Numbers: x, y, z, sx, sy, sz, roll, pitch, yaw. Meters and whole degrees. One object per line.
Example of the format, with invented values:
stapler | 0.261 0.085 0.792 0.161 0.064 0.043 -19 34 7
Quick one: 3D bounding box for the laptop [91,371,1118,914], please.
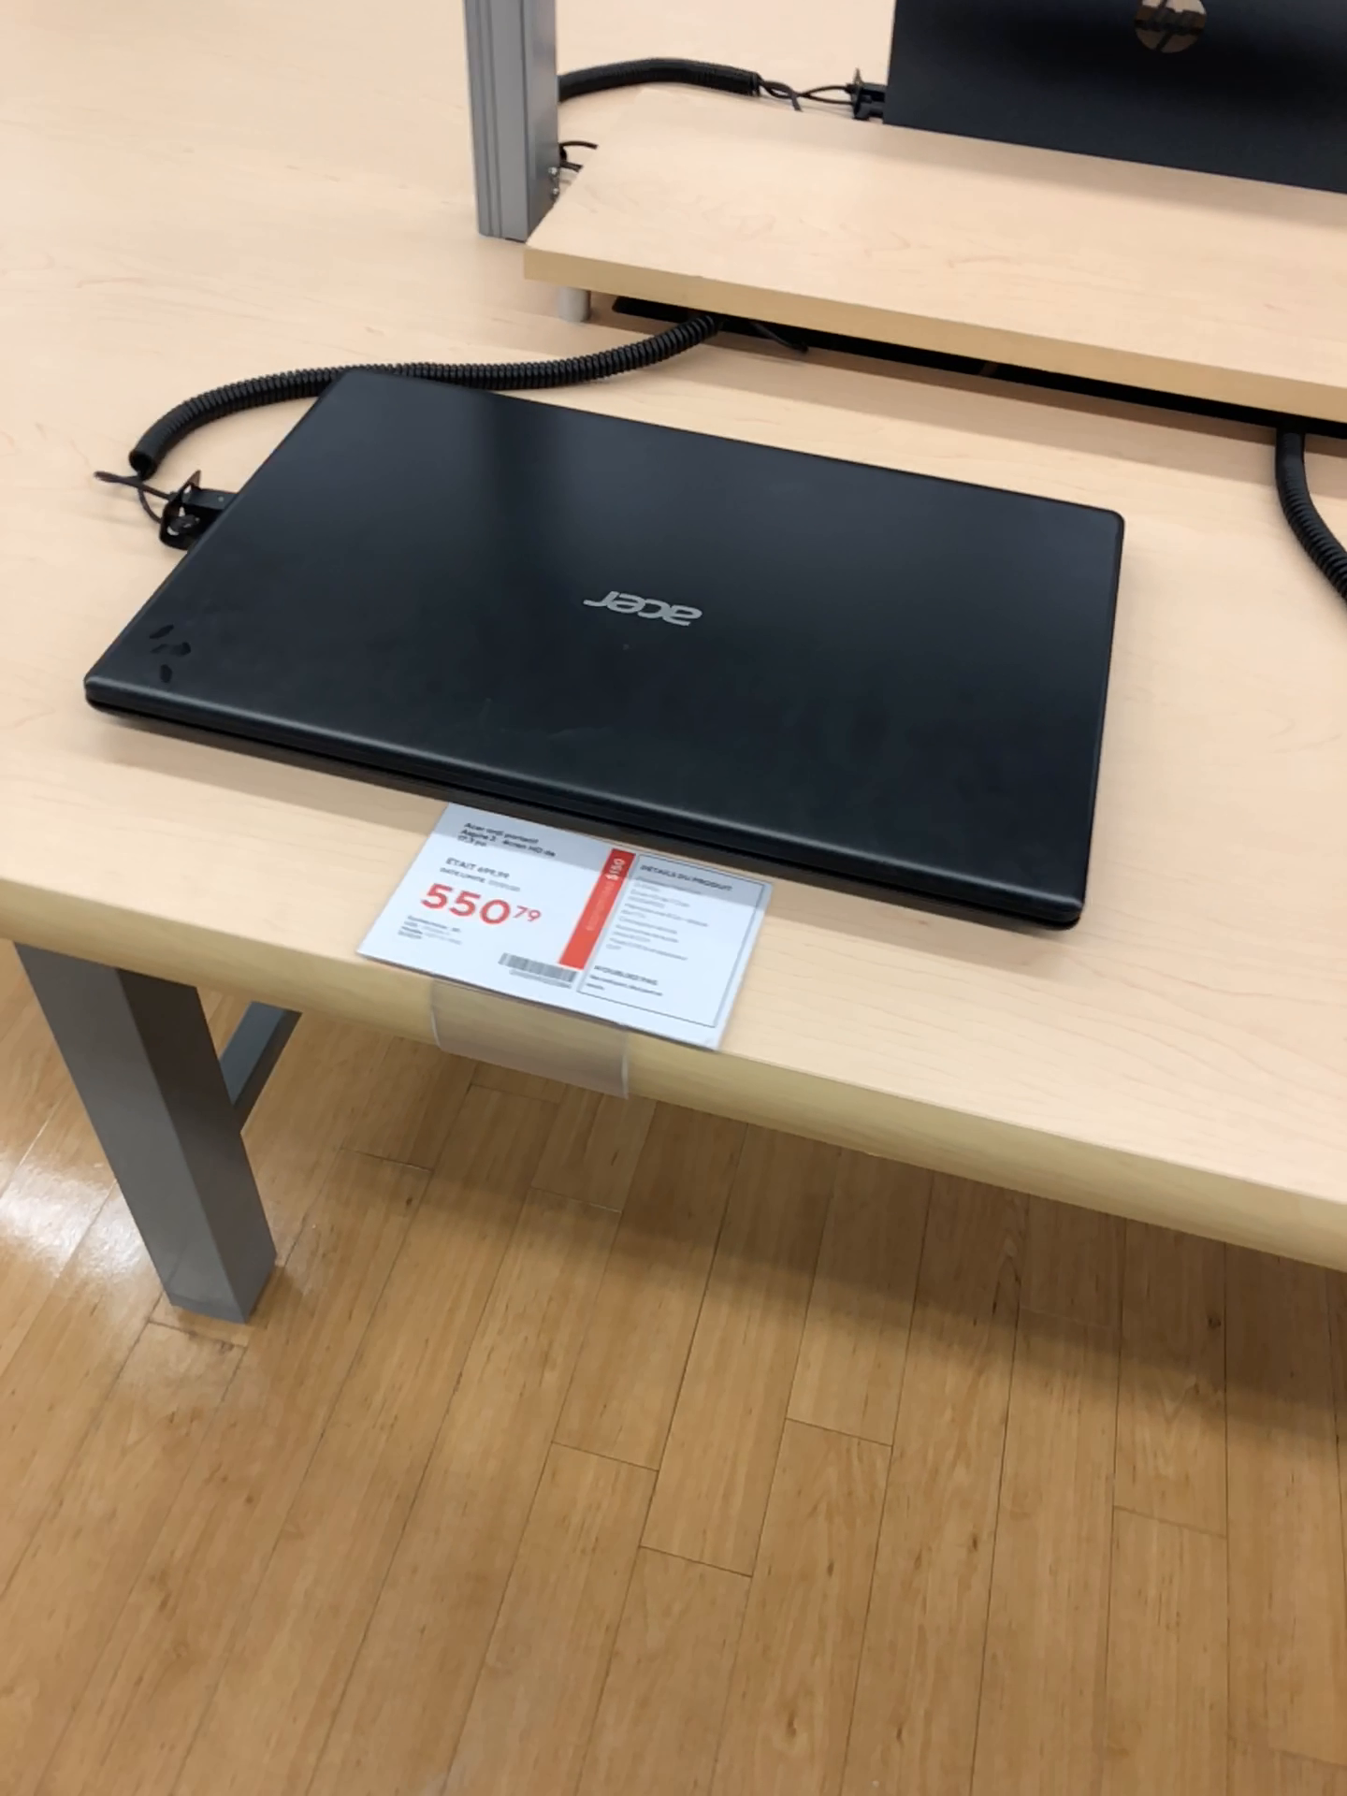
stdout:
laptop | -0.012 -0.139 0.678 0.416 0.001 0.268 13 49 8
